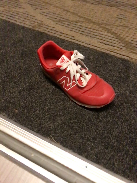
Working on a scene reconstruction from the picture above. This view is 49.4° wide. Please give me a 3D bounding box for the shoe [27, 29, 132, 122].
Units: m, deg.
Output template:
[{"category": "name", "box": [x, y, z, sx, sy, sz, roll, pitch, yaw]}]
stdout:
[{"category": "shoe", "box": [0.018, -0.052, 0.416, 0.257, 0.107, 0.101, 36, 63, 21]}]
